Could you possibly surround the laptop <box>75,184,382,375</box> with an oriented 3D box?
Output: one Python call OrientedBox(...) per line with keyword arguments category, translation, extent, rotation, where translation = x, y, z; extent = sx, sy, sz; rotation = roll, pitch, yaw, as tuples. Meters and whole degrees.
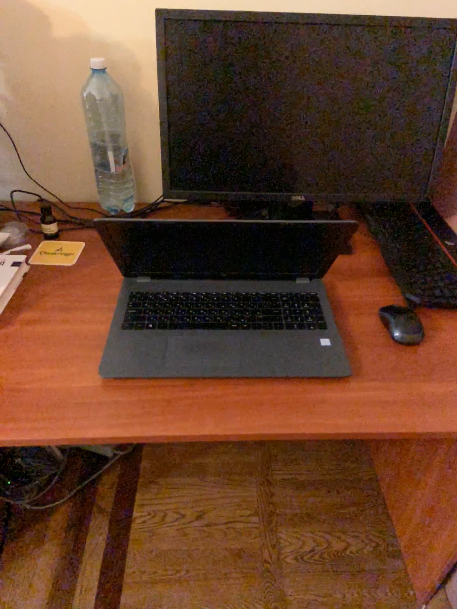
OrientedBox(category="laptop", translation=(-0.004, -0.047, 0.733), extent=(0.385, 0.193, 0.246), rotation=(0, 38, -1))
